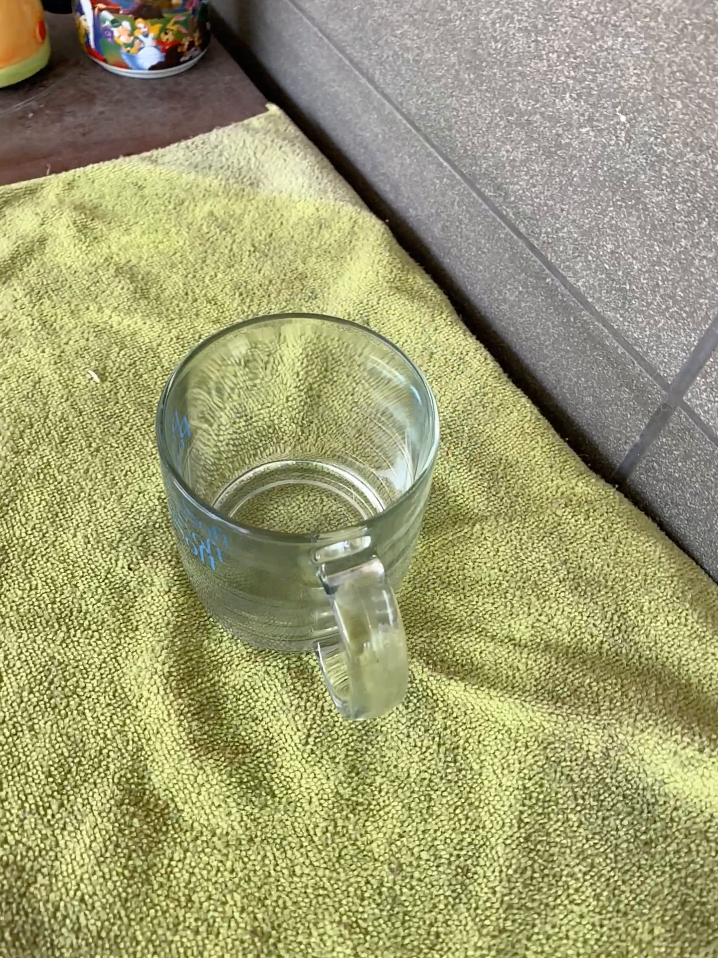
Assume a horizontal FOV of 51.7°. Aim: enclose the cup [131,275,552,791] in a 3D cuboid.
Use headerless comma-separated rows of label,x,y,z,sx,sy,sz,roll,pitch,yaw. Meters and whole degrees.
cup,-0.015,0.018,0.245,0.080,0.100,0.120,-15,59,-15
